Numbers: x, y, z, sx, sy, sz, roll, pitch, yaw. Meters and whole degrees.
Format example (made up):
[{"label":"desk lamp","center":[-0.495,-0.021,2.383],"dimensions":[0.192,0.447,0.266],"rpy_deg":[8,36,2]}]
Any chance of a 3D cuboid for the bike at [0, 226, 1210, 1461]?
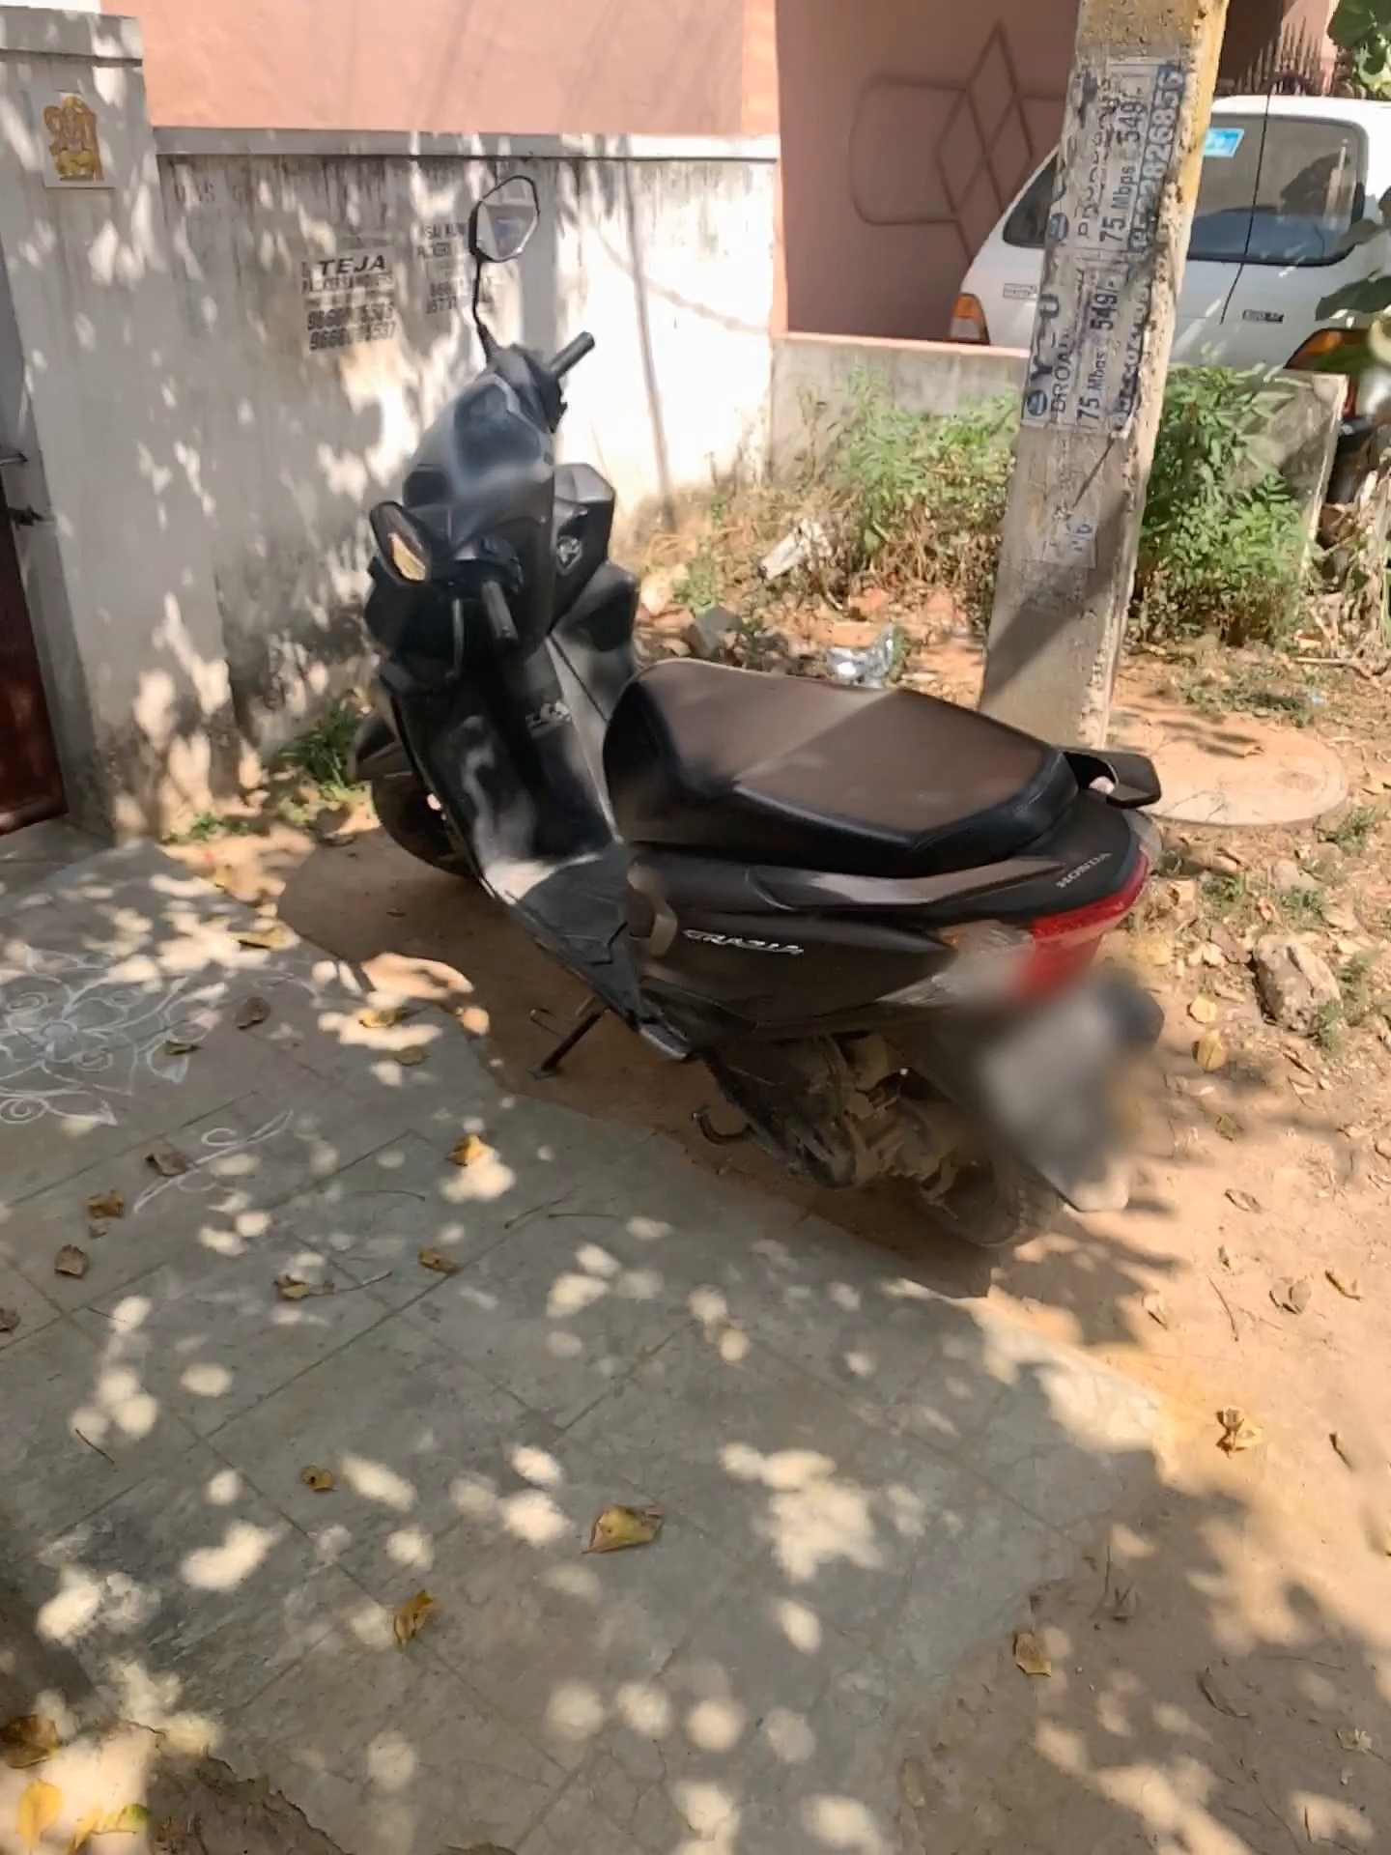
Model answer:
[{"label":"bike","center":[-0.234,-0.262,2.071],"dimensions":[1.511,1.177,0.608],"rpy_deg":[27,37,35]}]
